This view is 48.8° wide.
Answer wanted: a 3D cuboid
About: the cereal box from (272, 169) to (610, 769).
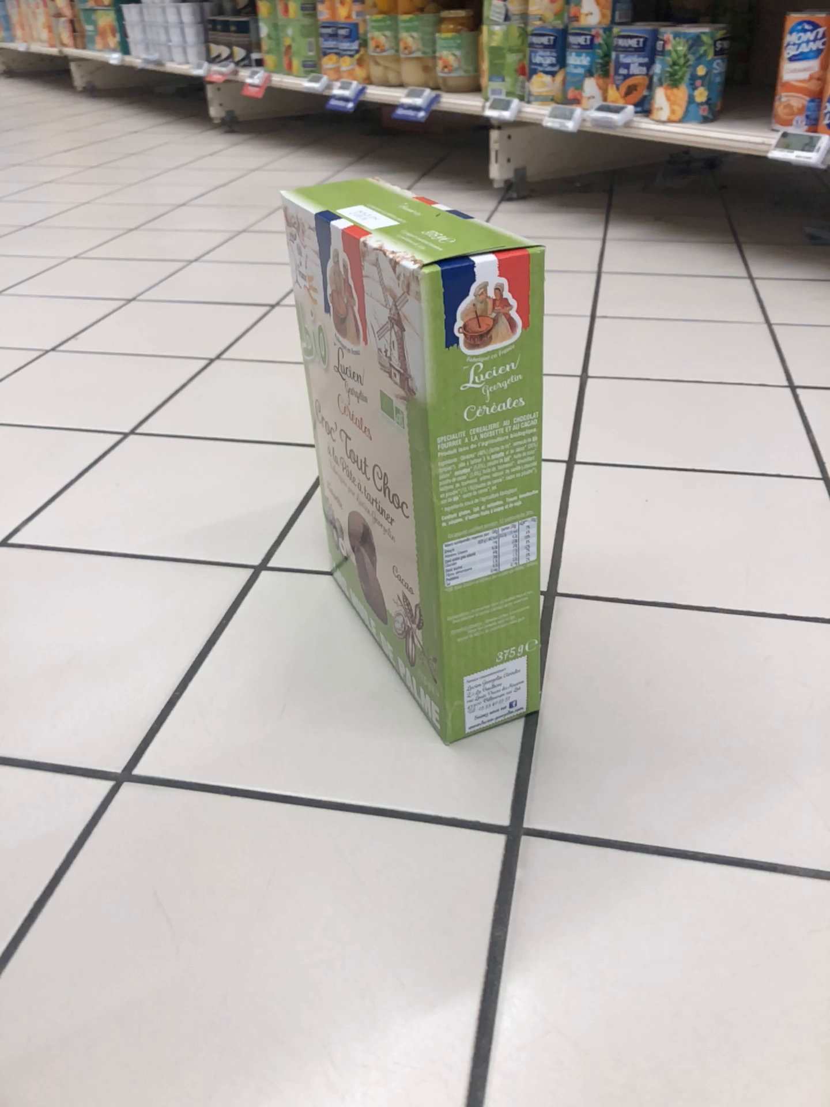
[{"bbox_3d":[0.002,-0.054,0.473,0.080,0.239,0.201,-13,33,-18],"label":"cereal box"}]
